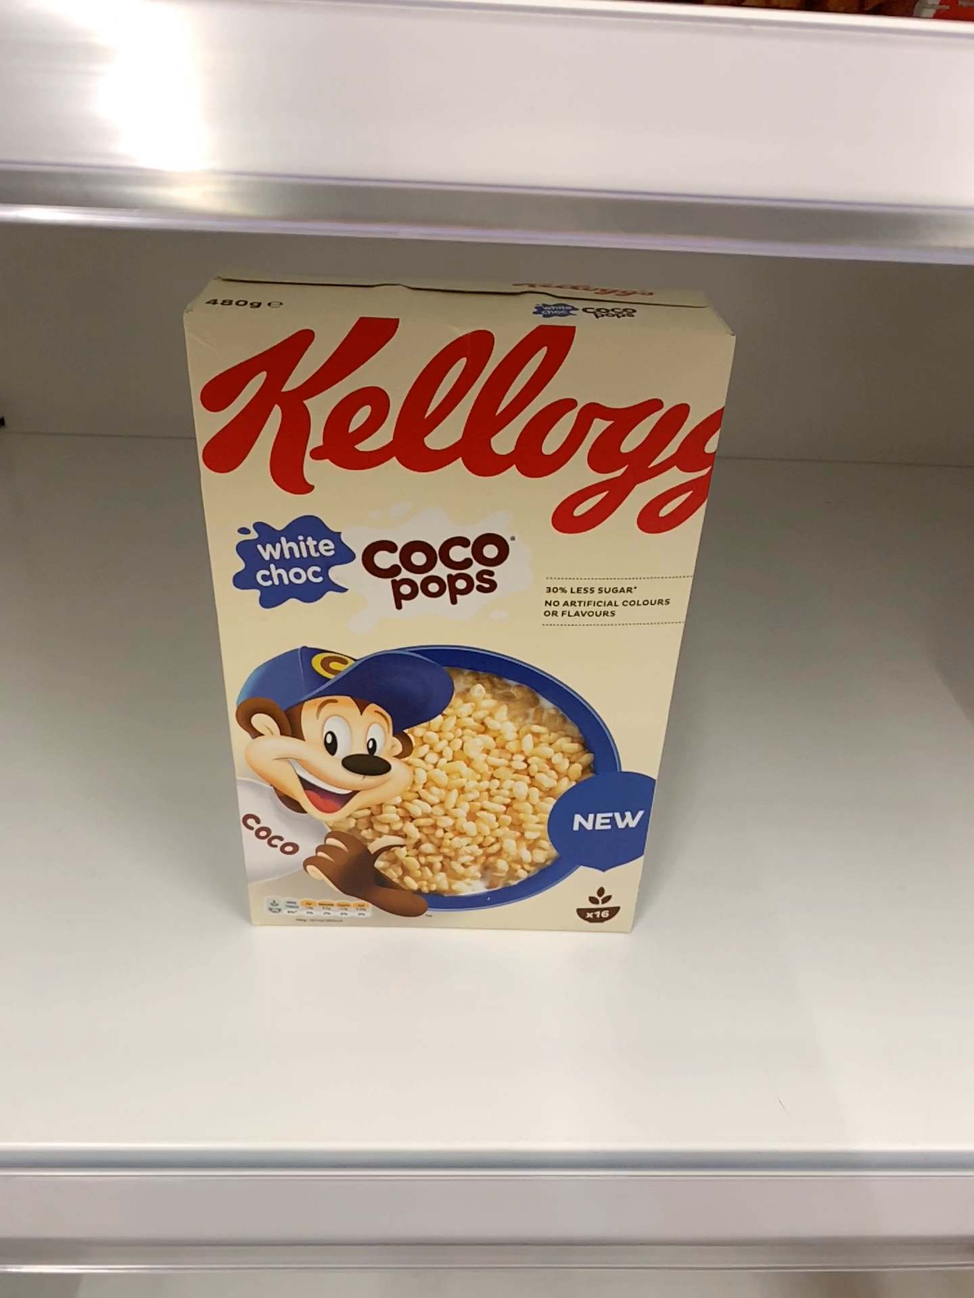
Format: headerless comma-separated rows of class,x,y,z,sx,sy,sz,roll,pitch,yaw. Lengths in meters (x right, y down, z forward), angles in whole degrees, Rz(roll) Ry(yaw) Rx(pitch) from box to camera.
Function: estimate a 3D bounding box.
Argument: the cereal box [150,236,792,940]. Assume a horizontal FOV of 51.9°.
cereal box,-0.012,-0.009,0.434,0.210,0.297,0.071,2,31,-2
